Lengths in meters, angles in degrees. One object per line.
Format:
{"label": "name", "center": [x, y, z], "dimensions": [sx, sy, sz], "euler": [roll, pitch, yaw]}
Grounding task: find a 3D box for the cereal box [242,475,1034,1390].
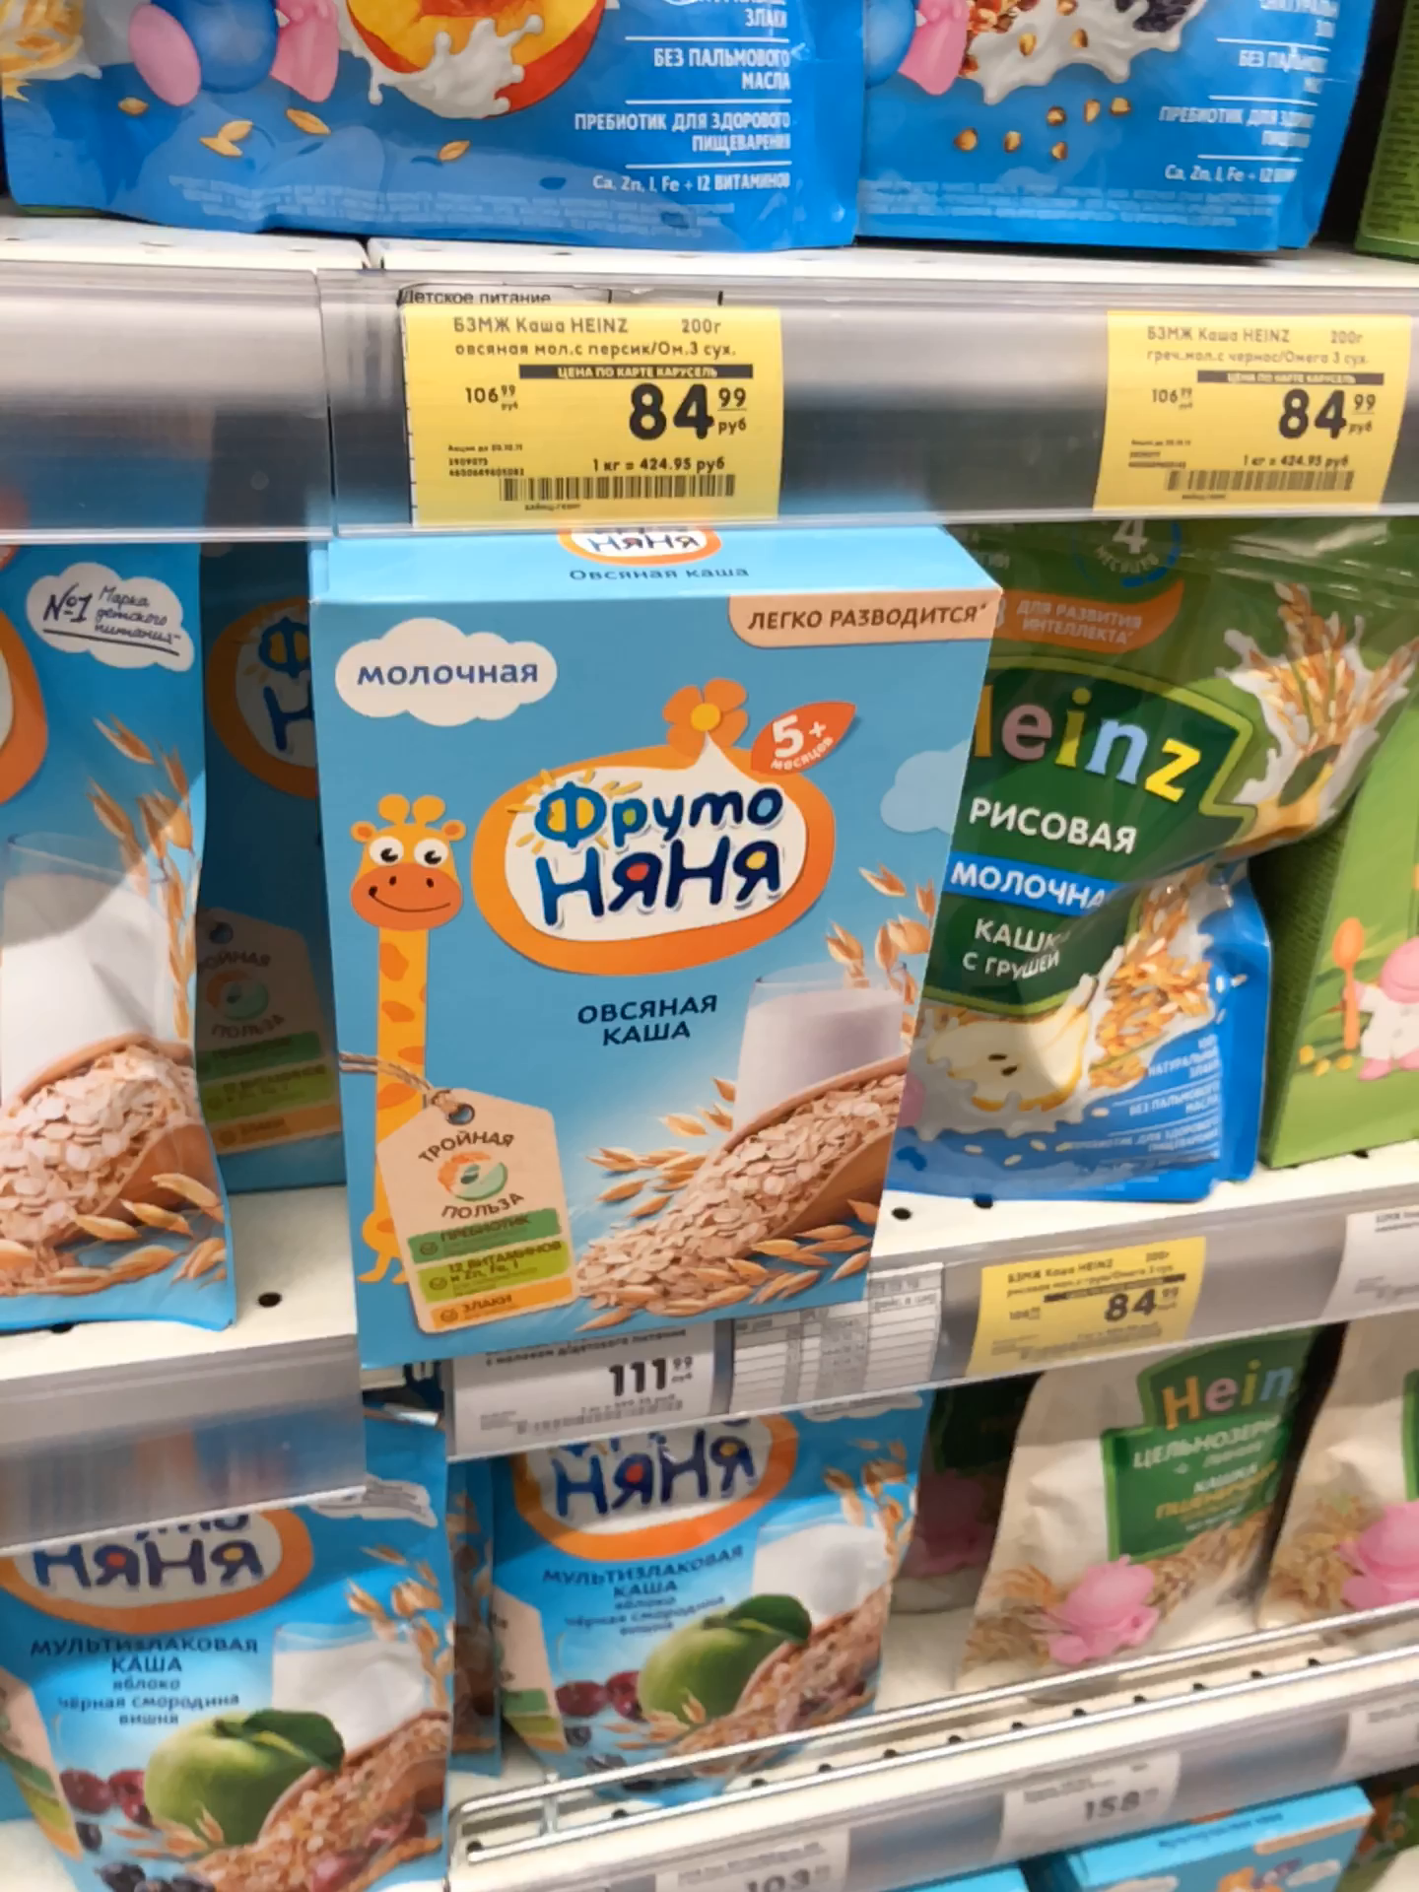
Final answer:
{"label": "cereal box", "center": [-0.022, 0.003, 0.350], "dimensions": [0.140, 0.199, 0.050], "euler": [-5, 36, -14]}
